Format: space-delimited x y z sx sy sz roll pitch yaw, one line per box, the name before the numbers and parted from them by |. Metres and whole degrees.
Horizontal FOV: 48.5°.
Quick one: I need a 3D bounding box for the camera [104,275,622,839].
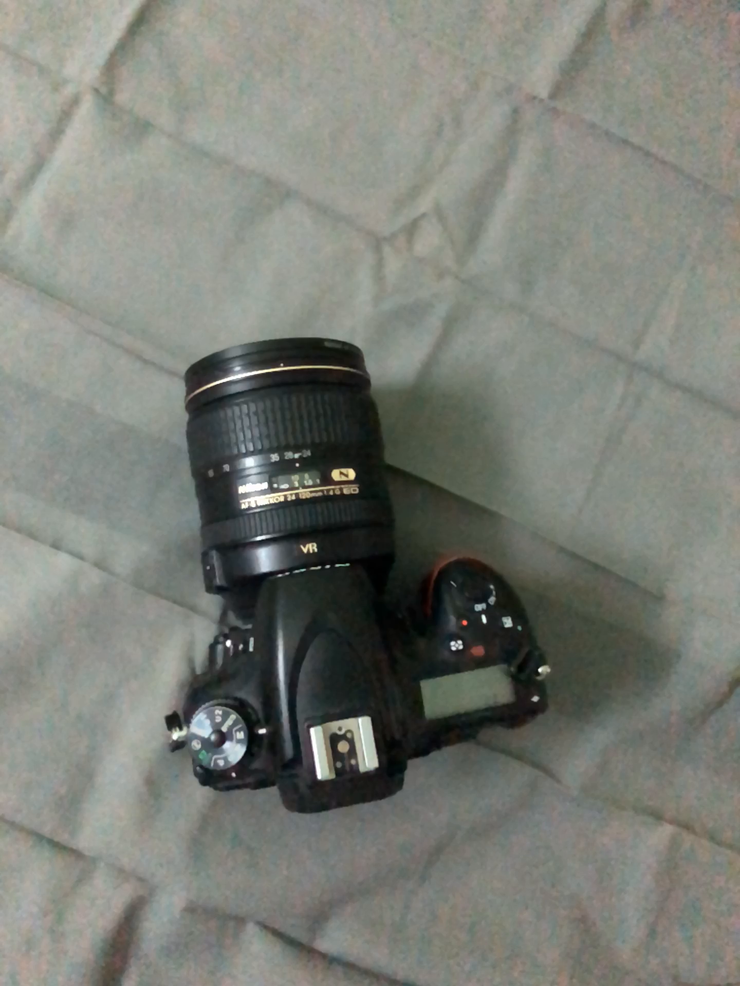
camera | -0.011 0.023 0.333 0.146 0.135 0.163 -8 83 -9
